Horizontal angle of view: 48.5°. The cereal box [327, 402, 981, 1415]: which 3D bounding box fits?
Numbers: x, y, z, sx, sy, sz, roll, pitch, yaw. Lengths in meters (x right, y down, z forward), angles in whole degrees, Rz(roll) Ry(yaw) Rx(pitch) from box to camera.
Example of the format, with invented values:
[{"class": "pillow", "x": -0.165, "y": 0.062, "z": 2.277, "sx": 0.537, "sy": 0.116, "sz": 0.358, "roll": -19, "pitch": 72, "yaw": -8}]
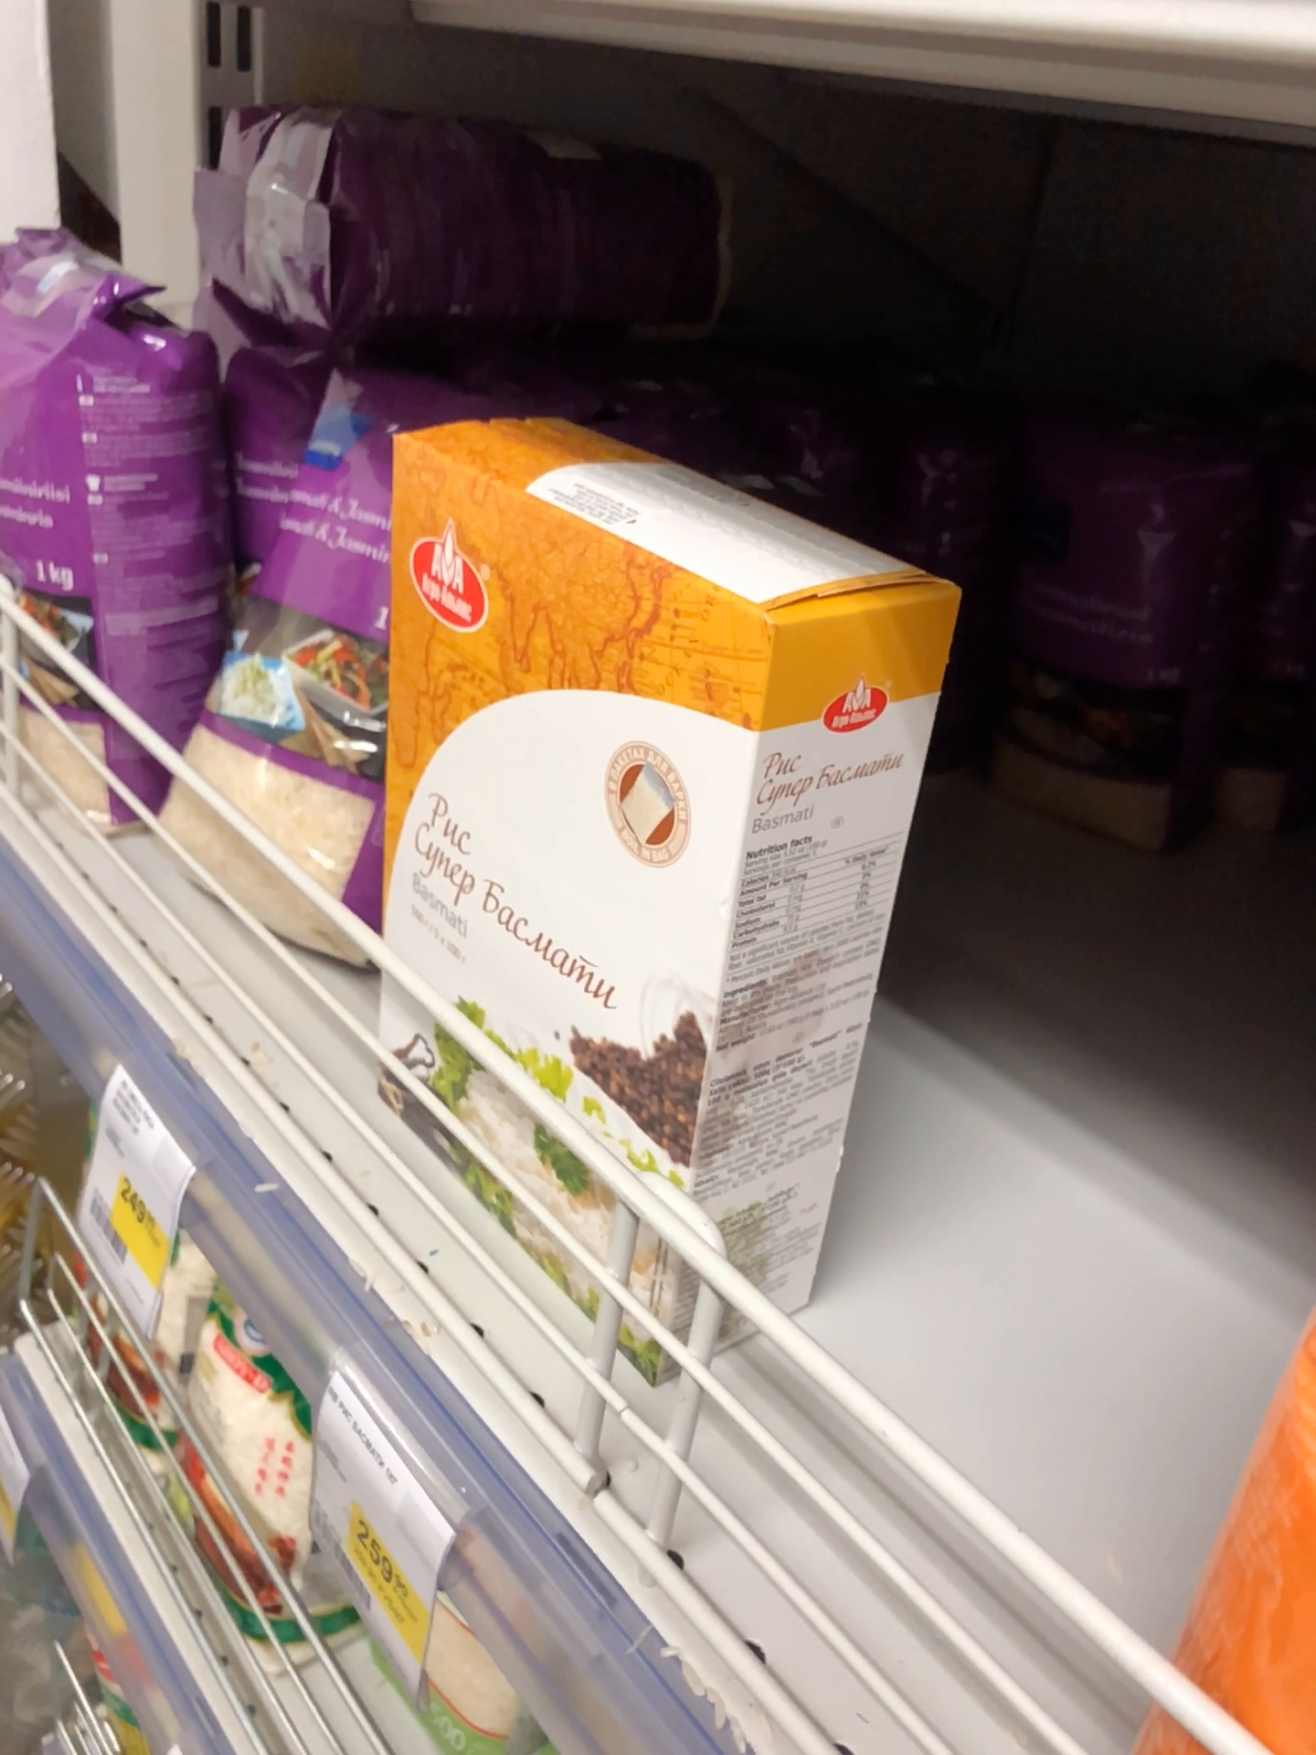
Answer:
[{"class": "cereal box", "x": -0.017, "y": 0.000, "z": 0.347, "sx": 0.060, "sy": 0.189, "sz": 0.140, "roll": -16, "pitch": 35, "yaw": -37}]
